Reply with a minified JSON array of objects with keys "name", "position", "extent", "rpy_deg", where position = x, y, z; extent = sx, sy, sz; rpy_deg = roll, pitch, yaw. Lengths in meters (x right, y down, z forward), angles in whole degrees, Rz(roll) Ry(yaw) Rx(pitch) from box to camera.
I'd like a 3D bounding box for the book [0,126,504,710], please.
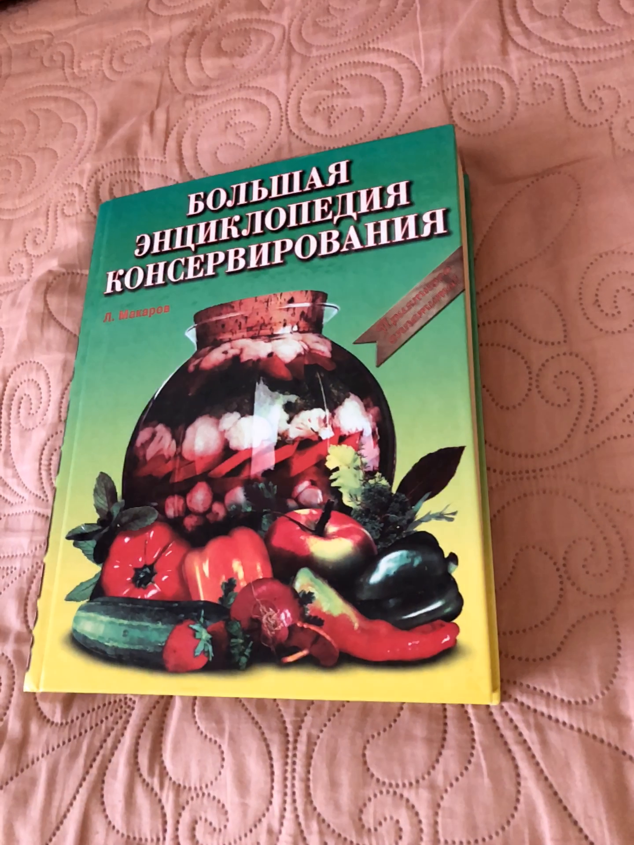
[{"name":"book","position":[-0.029,-0.004,0.354],"extent":[0.216,0.050,0.273],"rpy_deg":[-6,67,17]}]
